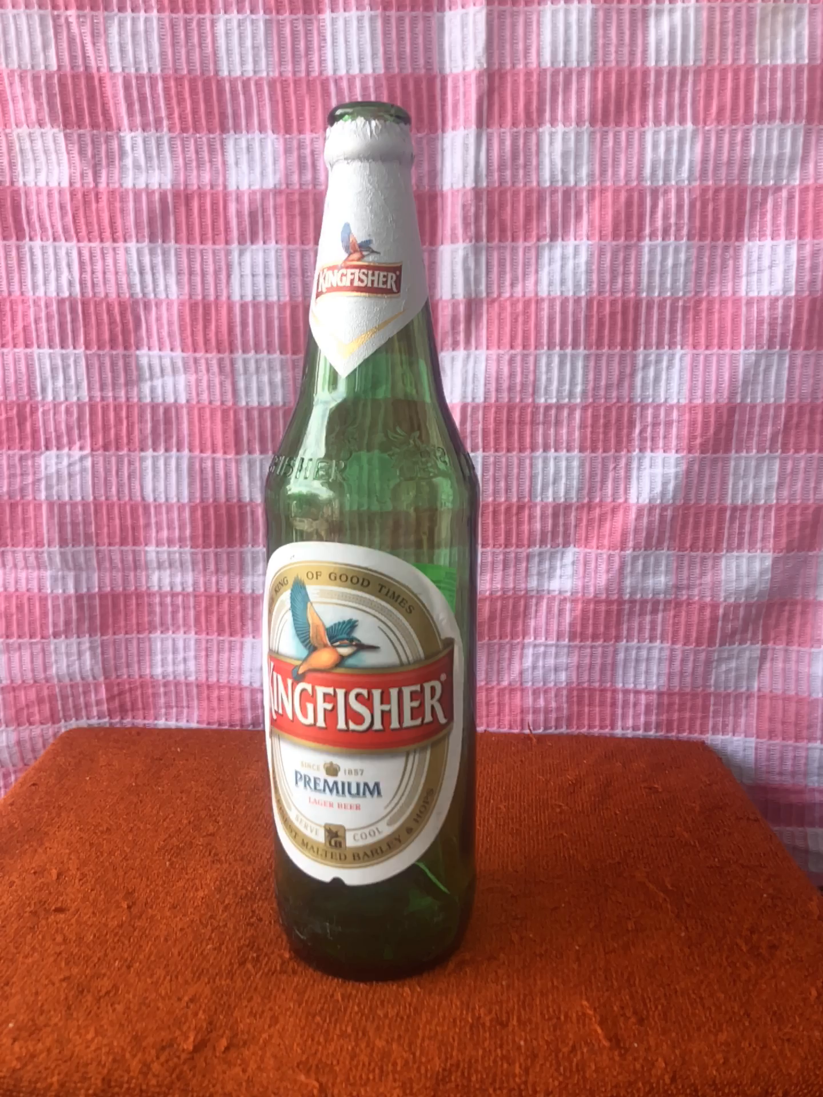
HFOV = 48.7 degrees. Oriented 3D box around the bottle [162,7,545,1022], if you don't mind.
[{"bbox_3d":[-0.018,-0.005,0.306,0.090,0.289,0.080,7,14,20],"label":"bottle"}]
